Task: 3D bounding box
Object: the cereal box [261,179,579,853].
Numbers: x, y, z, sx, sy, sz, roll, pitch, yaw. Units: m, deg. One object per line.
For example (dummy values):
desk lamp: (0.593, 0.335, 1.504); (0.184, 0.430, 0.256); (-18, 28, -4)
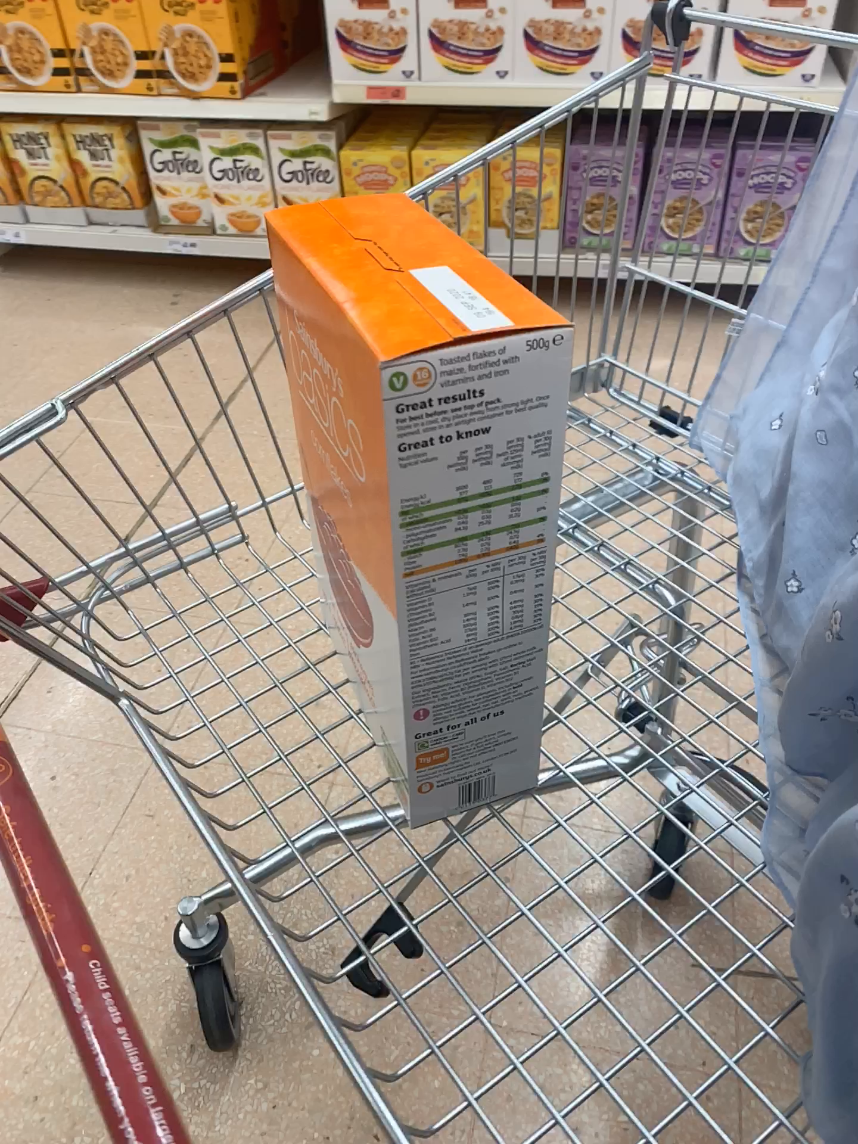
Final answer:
cereal box: (-0.014, -0.030, 0.499); (0.080, 0.307, 0.212); (-14, 40, -15)
